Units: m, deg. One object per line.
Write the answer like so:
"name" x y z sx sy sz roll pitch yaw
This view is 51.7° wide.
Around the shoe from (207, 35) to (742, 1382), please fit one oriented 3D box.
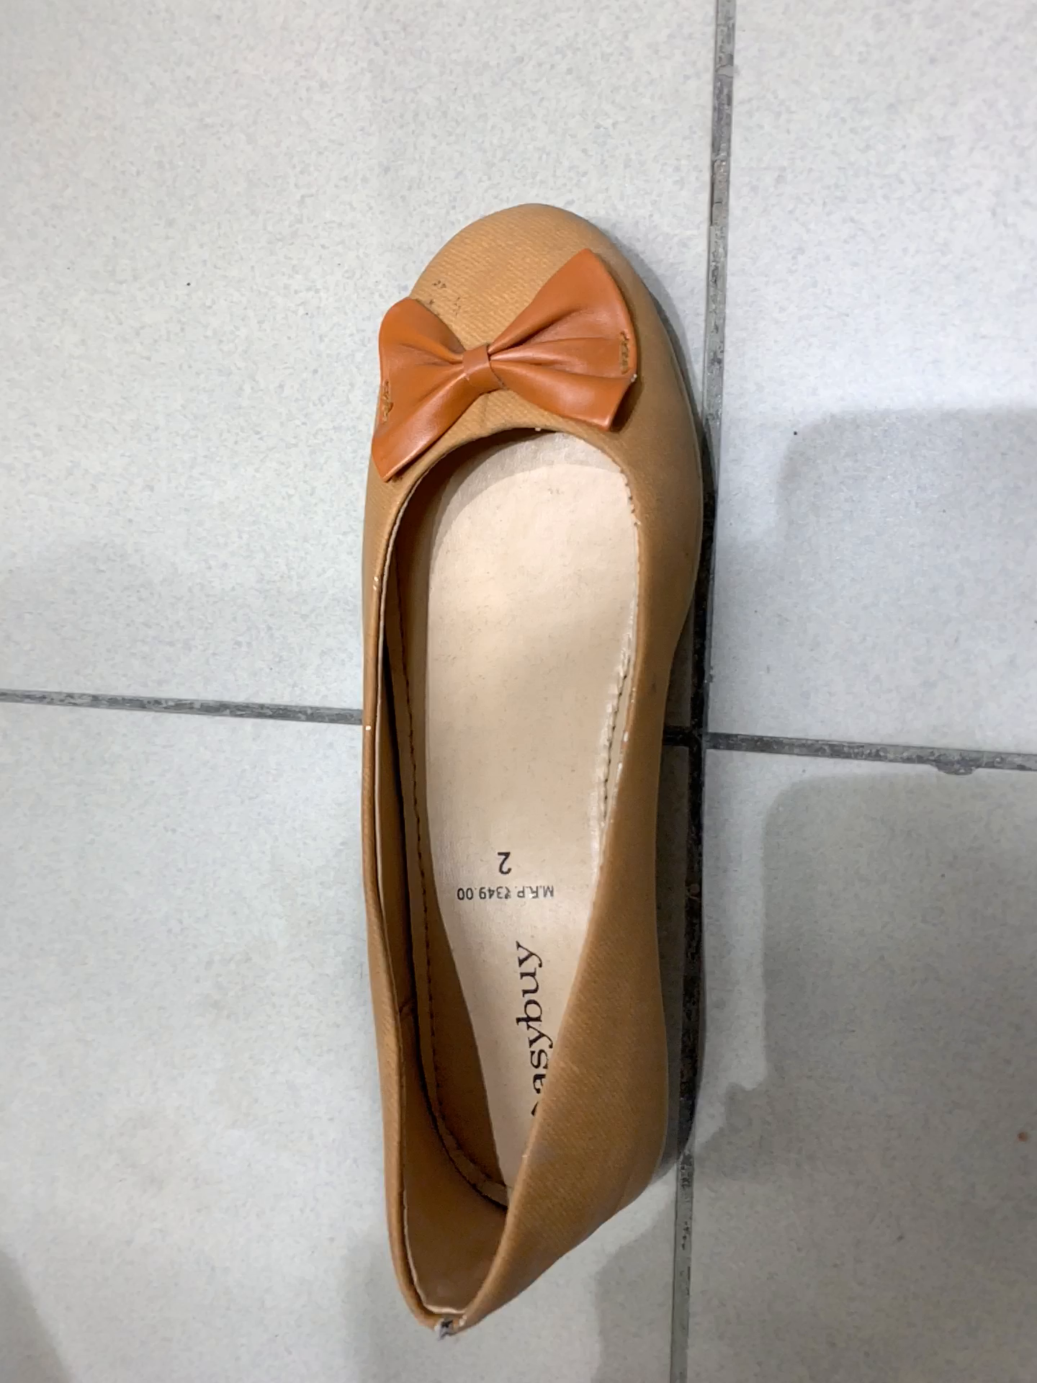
"shoe" -0.004 0.012 0.209 0.080 0.070 0.220 1 93 22
